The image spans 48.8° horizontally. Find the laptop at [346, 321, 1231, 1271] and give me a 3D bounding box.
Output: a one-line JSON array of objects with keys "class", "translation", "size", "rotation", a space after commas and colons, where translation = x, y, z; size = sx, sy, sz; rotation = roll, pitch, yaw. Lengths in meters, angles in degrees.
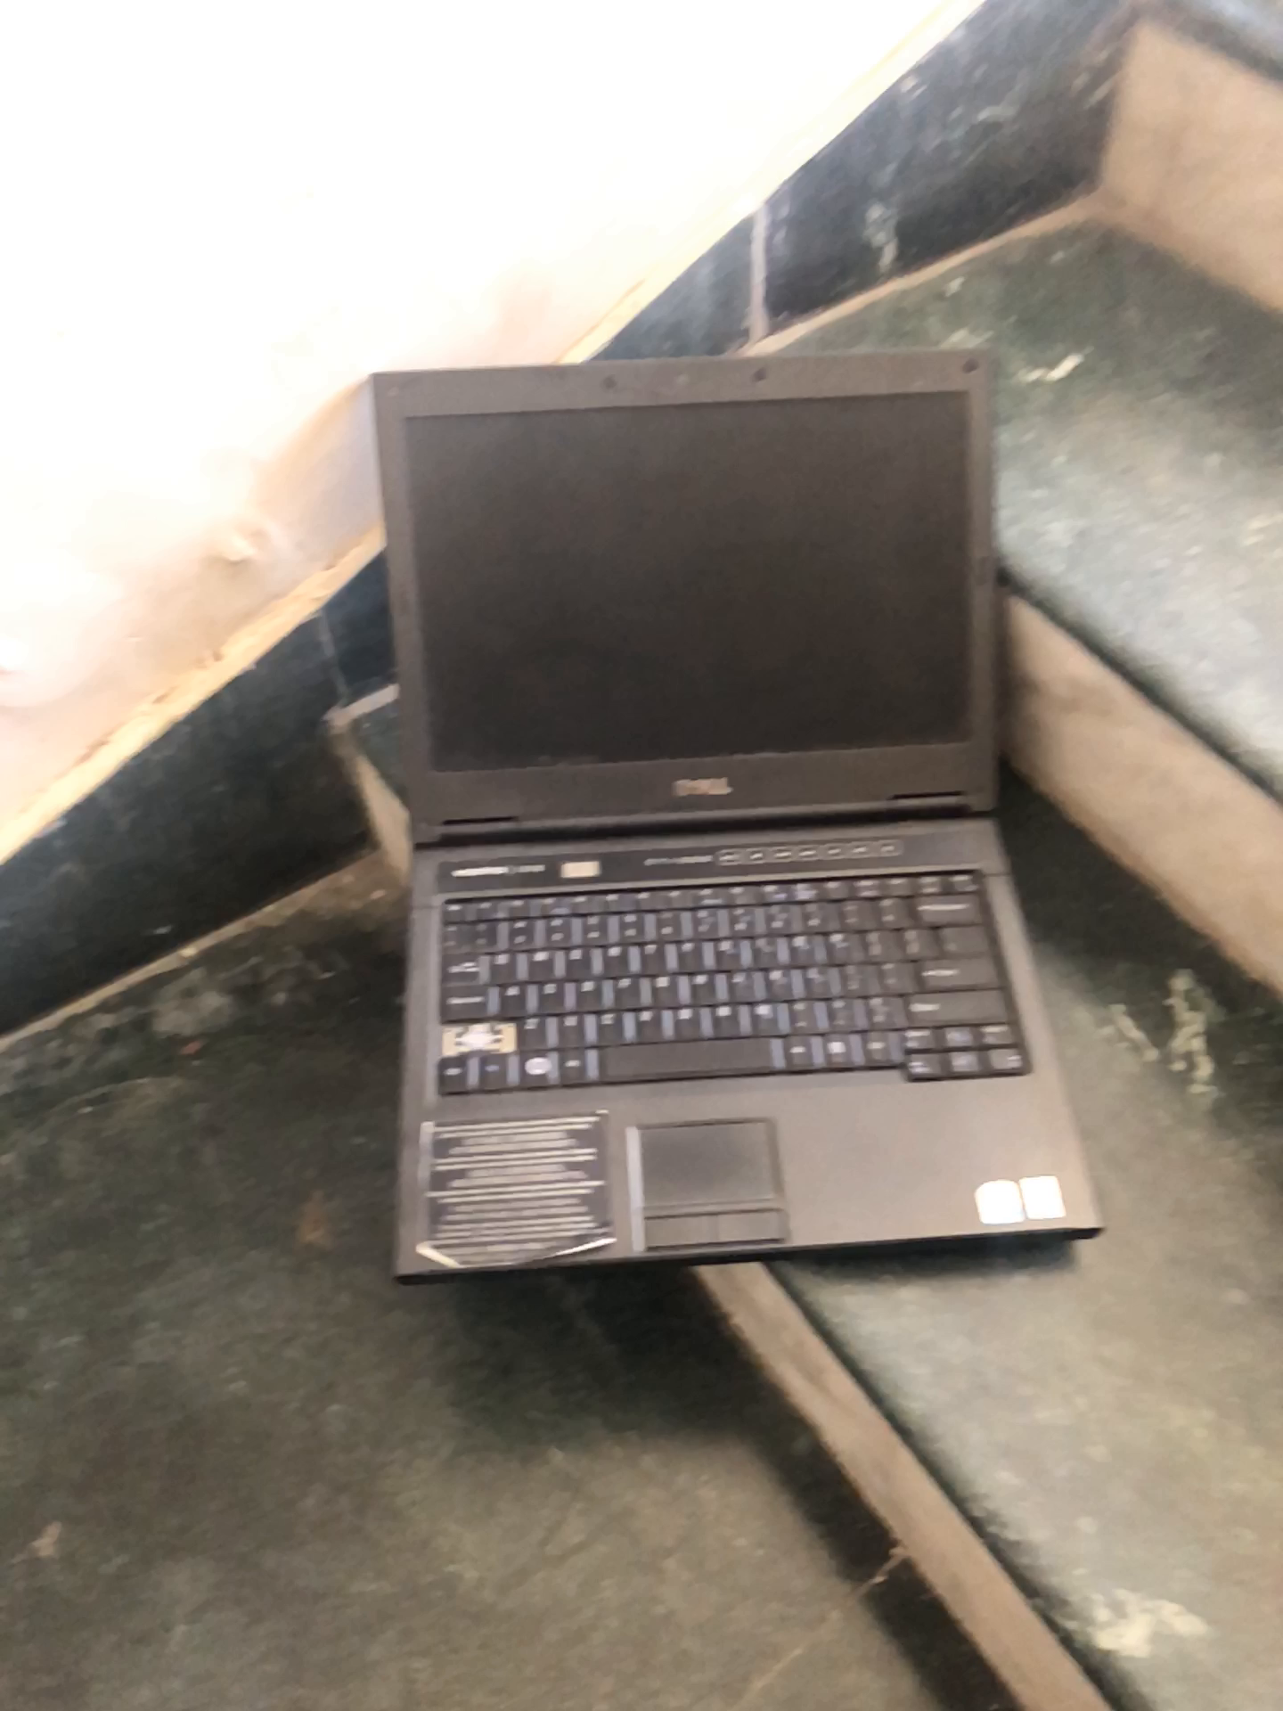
[{"class": "laptop", "translation": [0.039, -0.043, 0.654], "size": [0.301, 0.169, 0.388], "rotation": [-3, 56, -2]}]
